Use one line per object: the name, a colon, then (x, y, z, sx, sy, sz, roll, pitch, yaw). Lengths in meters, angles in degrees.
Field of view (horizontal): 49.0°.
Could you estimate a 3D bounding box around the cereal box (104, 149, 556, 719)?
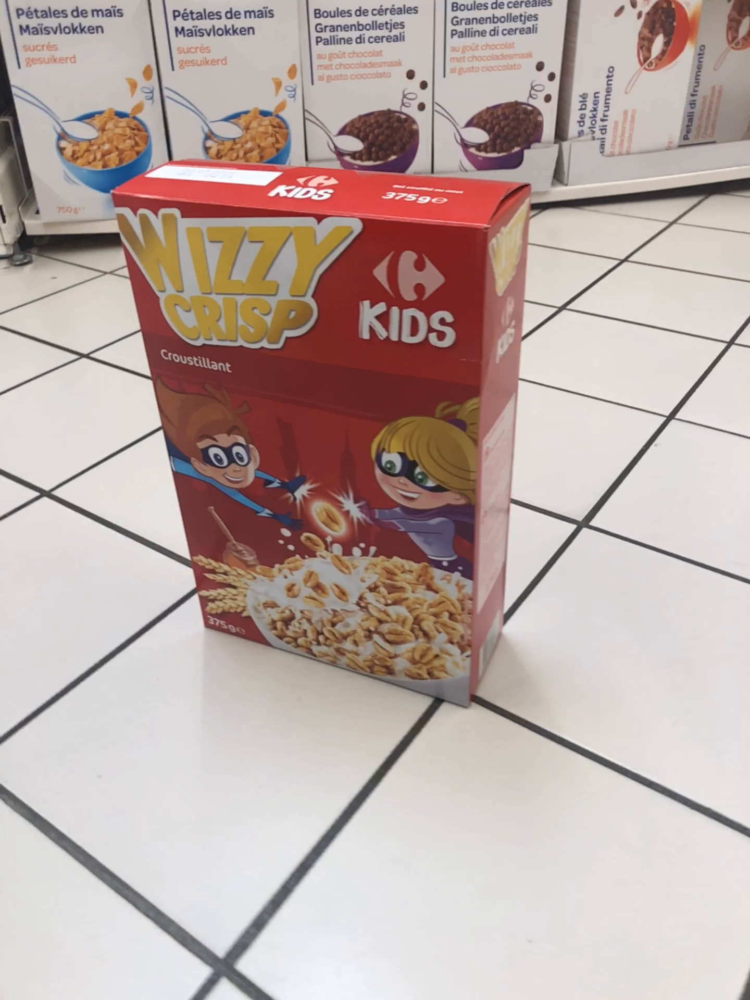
cereal box: (-0.016, -0.033, 0.460, 0.190, 0.278, 0.091, 12, 36, 20)
